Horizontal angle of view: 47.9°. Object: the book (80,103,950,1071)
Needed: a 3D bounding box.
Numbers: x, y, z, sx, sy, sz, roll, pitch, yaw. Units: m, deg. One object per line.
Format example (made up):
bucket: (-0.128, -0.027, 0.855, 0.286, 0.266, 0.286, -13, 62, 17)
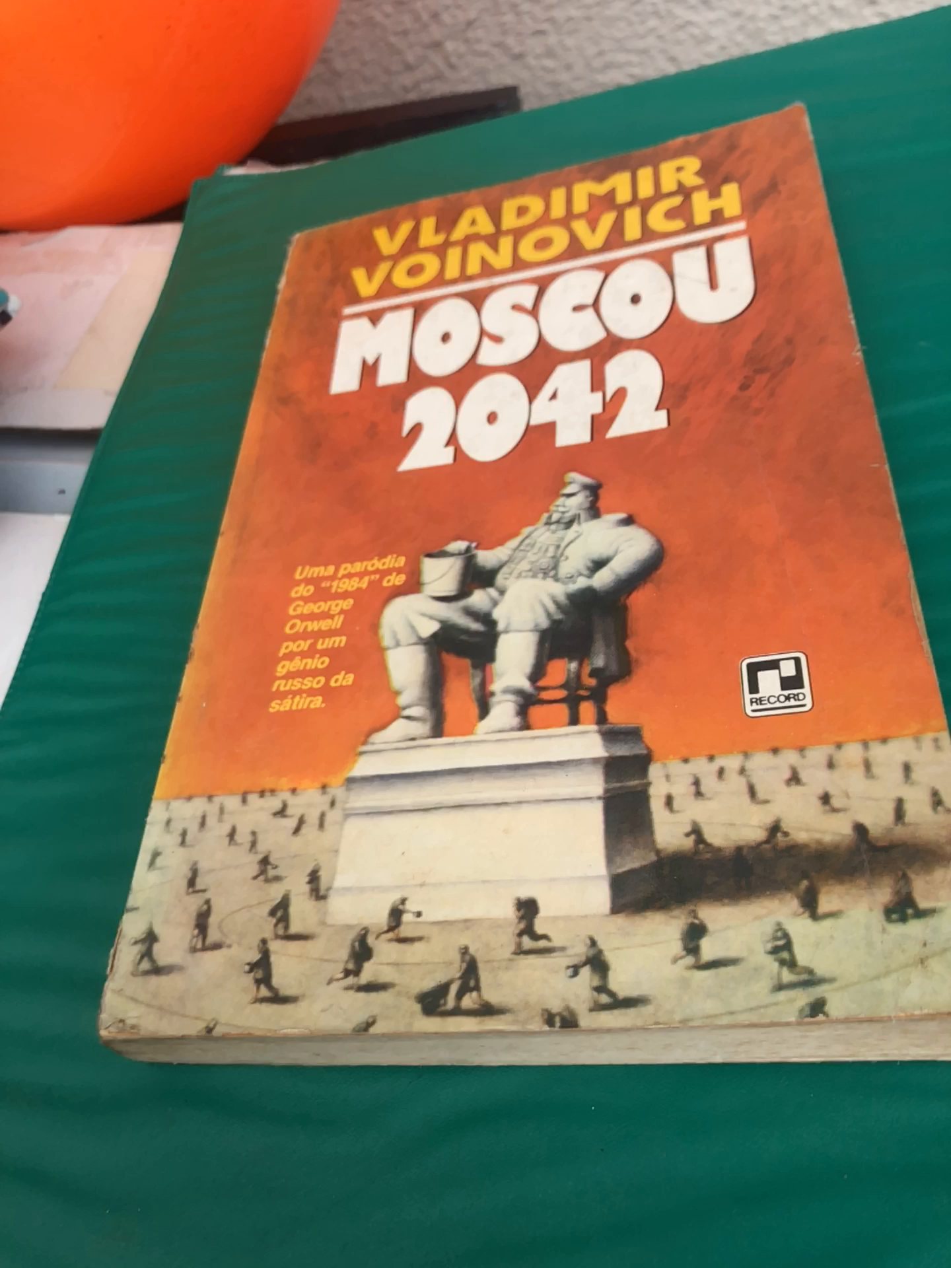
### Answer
book: (0.011, -0.024, 0.211, 0.132, 0.020, 0.204, -7, 54, 15)
